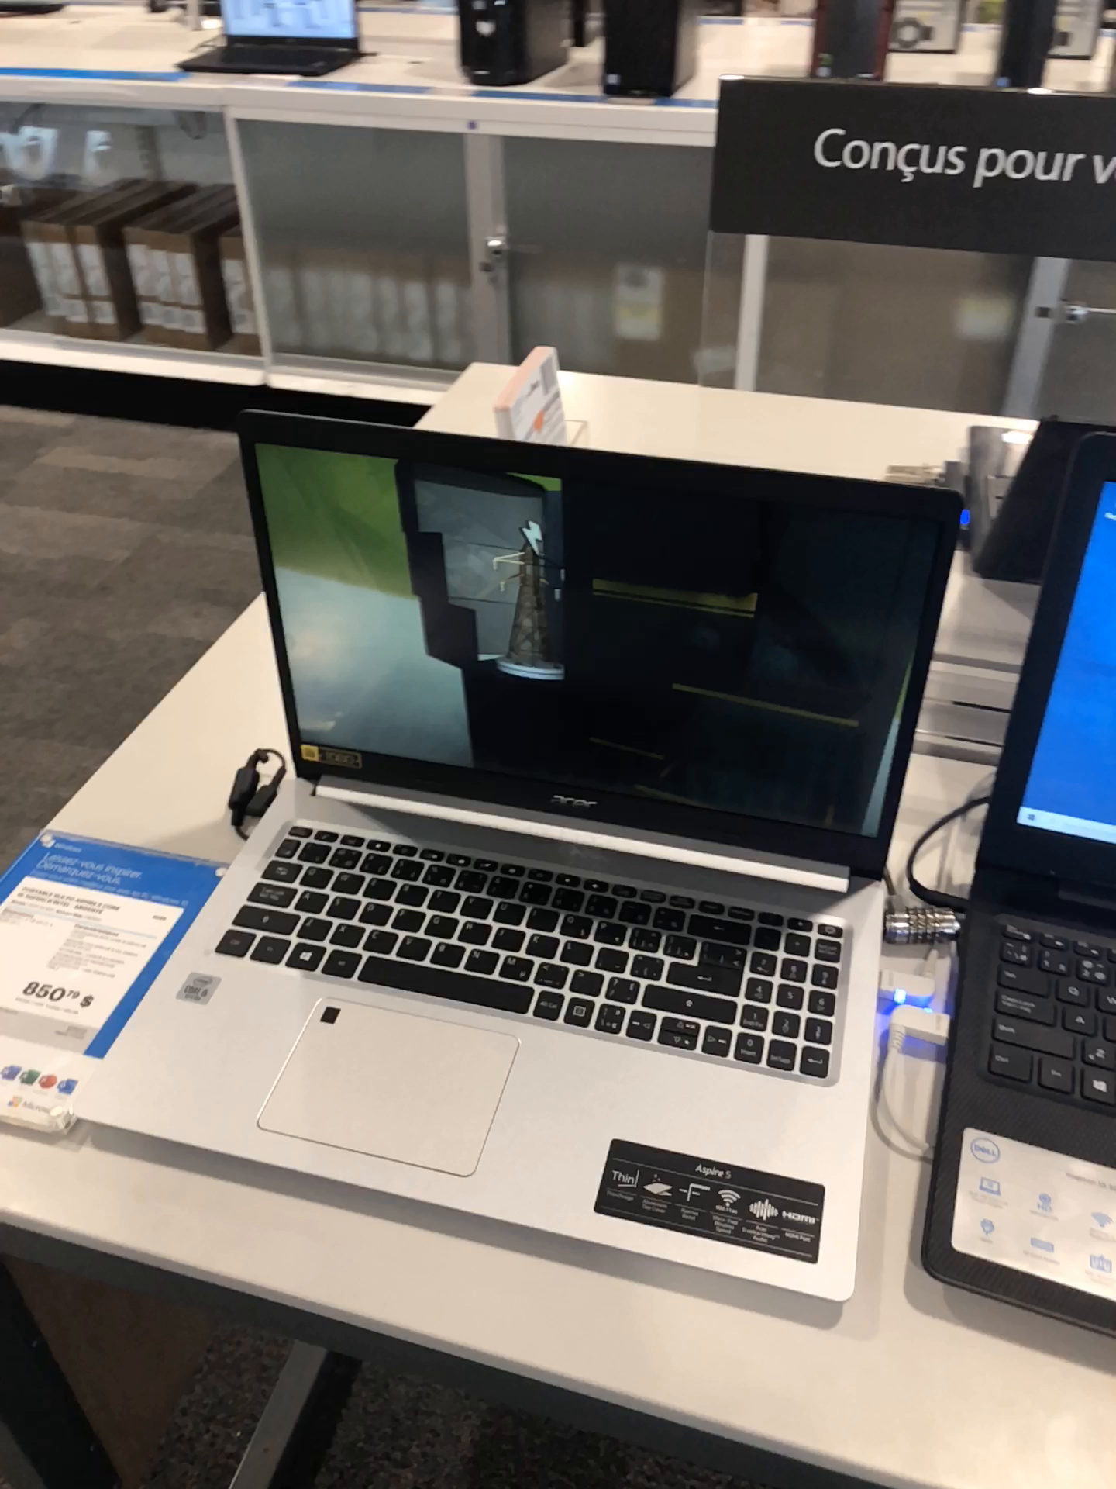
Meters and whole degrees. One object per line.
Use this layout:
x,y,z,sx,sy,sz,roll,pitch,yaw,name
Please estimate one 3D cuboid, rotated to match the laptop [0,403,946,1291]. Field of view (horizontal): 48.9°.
-0.024,0.022,0.569,0.349,0.229,0.267,9,40,13,laptop
